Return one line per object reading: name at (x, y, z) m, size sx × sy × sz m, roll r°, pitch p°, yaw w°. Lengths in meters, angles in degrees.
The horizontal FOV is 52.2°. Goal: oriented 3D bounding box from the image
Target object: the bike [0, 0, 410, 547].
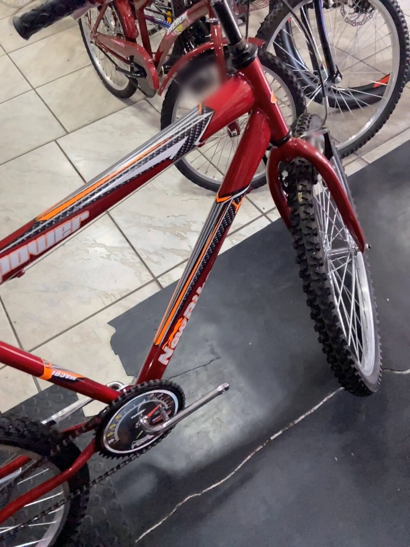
bike at (-0.292, 0.009, 0.675) m, size 1.585 × 1.030 × 0.567 m, roll -42°, pitch 60°, yaw -17°
